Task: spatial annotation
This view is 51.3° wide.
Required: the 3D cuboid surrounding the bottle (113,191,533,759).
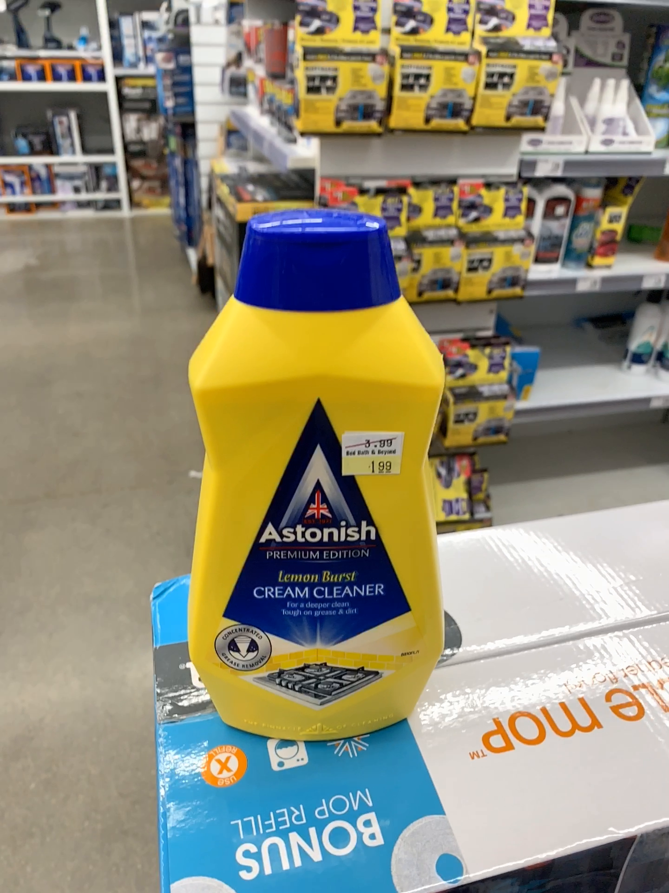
[{"bbox_3d":[-0.007,0.018,0.239,0.100,0.189,0.060,-1,31,-5],"label":"bottle"}]
